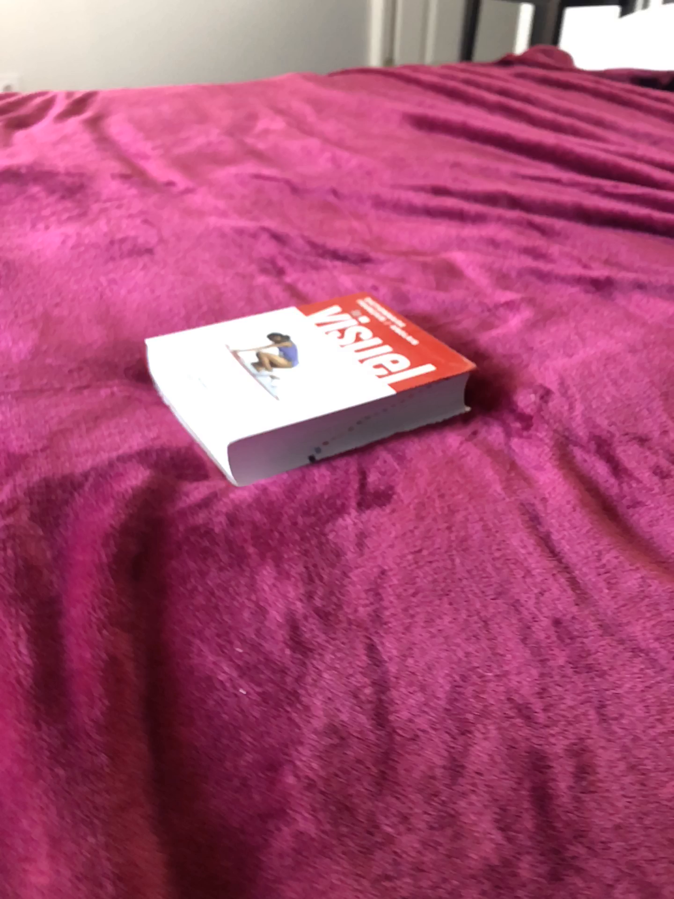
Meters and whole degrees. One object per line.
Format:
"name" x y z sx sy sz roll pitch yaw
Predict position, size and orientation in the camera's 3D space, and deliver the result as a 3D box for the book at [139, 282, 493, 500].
"book" -0.017 -0.049 0.489 0.181 0.039 0.140 -17 40 -25
